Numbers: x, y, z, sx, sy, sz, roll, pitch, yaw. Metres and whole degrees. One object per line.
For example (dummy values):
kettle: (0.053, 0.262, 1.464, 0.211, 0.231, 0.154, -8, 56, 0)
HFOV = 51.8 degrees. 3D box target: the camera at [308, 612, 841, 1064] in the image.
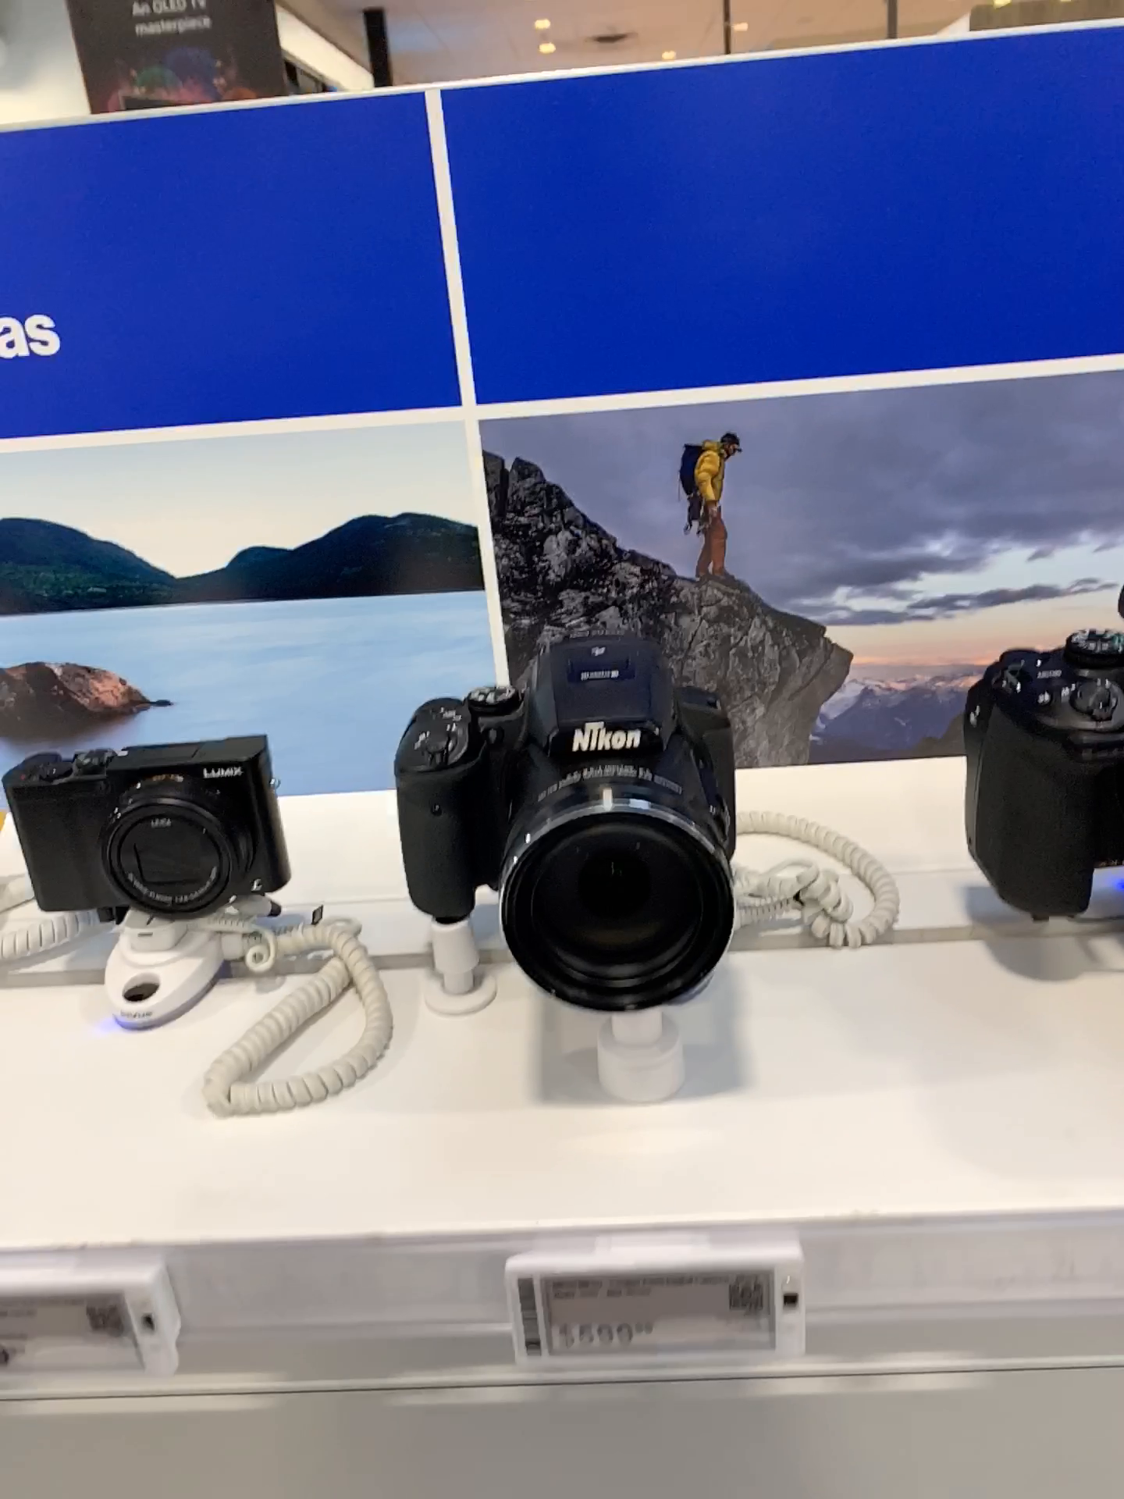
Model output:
camera: (0.009, 0.024, 0.434, 0.160, 0.100, 0.151, -4, 23, 3)

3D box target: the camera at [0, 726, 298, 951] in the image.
camera: (-0.176, 0.036, 0.479, 0.110, 0.070, 0.050, -4, 22, 3)

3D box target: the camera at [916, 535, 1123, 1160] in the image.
camera: (0.234, 0.012, 0.395, 0.160, 0.109, 0.221, -5, 23, 2)
